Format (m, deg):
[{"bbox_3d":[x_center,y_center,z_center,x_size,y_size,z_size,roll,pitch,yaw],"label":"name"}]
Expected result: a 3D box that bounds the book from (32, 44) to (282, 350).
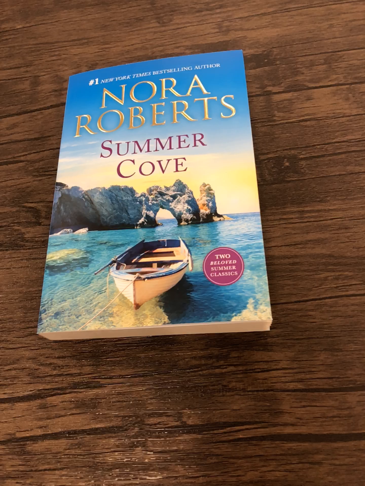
[{"bbox_3d":[-0.017,-0.039,0.287,0.140,0.043,0.210,-5,66,6],"label":"book"}]
